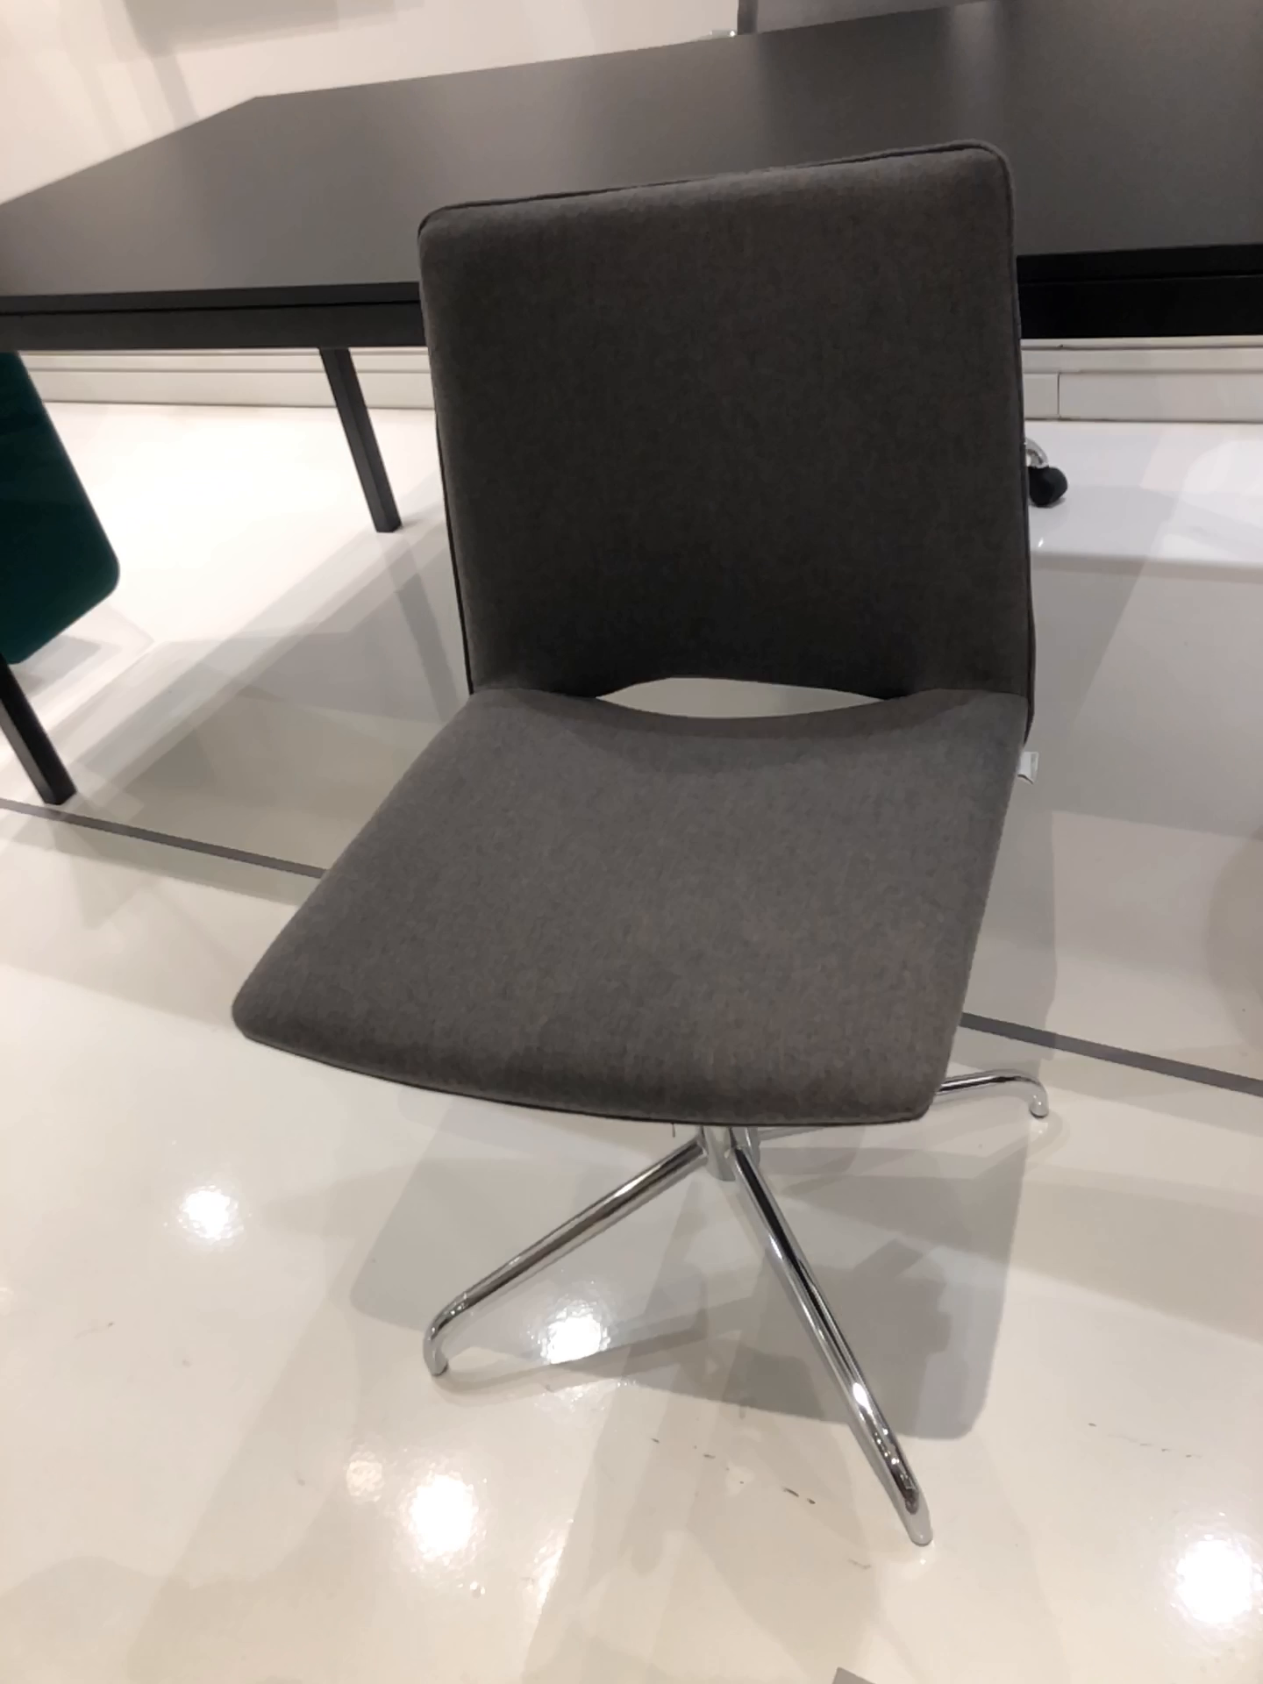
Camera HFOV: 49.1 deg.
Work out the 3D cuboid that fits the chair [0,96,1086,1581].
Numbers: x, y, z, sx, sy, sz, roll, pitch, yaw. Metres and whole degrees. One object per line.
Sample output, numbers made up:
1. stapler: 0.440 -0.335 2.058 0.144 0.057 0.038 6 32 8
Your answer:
1. chair: 0.039 0.012 1.023 0.520 0.834 0.553 3 40 21
